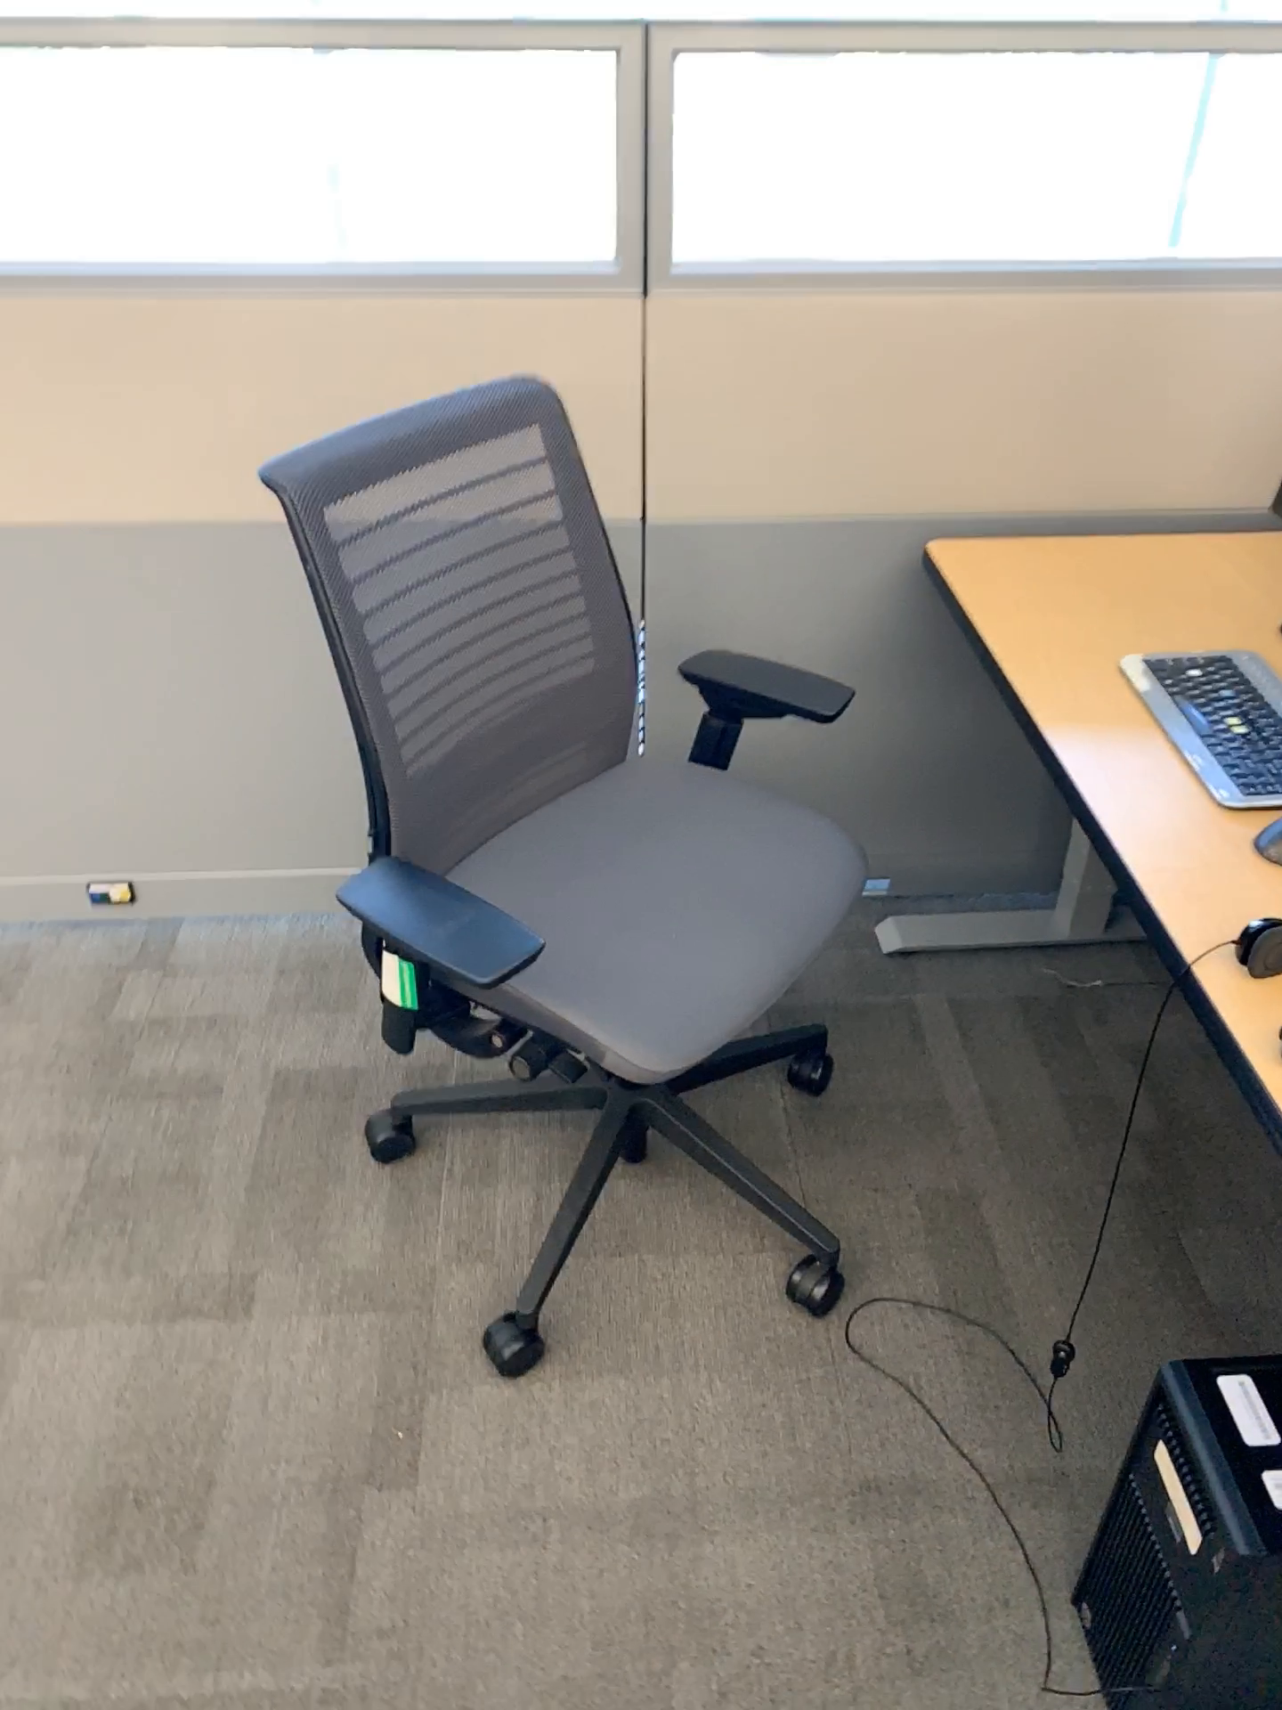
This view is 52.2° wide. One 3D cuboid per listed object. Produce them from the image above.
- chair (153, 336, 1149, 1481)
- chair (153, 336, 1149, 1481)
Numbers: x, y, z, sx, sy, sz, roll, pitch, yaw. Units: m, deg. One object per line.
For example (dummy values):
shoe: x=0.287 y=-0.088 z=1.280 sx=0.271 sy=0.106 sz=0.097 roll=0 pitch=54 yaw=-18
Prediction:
chair: x=0.035 y=0.012 z=1.752 sx=0.802 sy=1.083 sz=0.773 roll=22 pitch=41 yaw=28
chair: x=0.035 y=0.012 z=1.752 sx=0.802 sy=1.083 sz=0.773 roll=22 pitch=41 yaw=28
